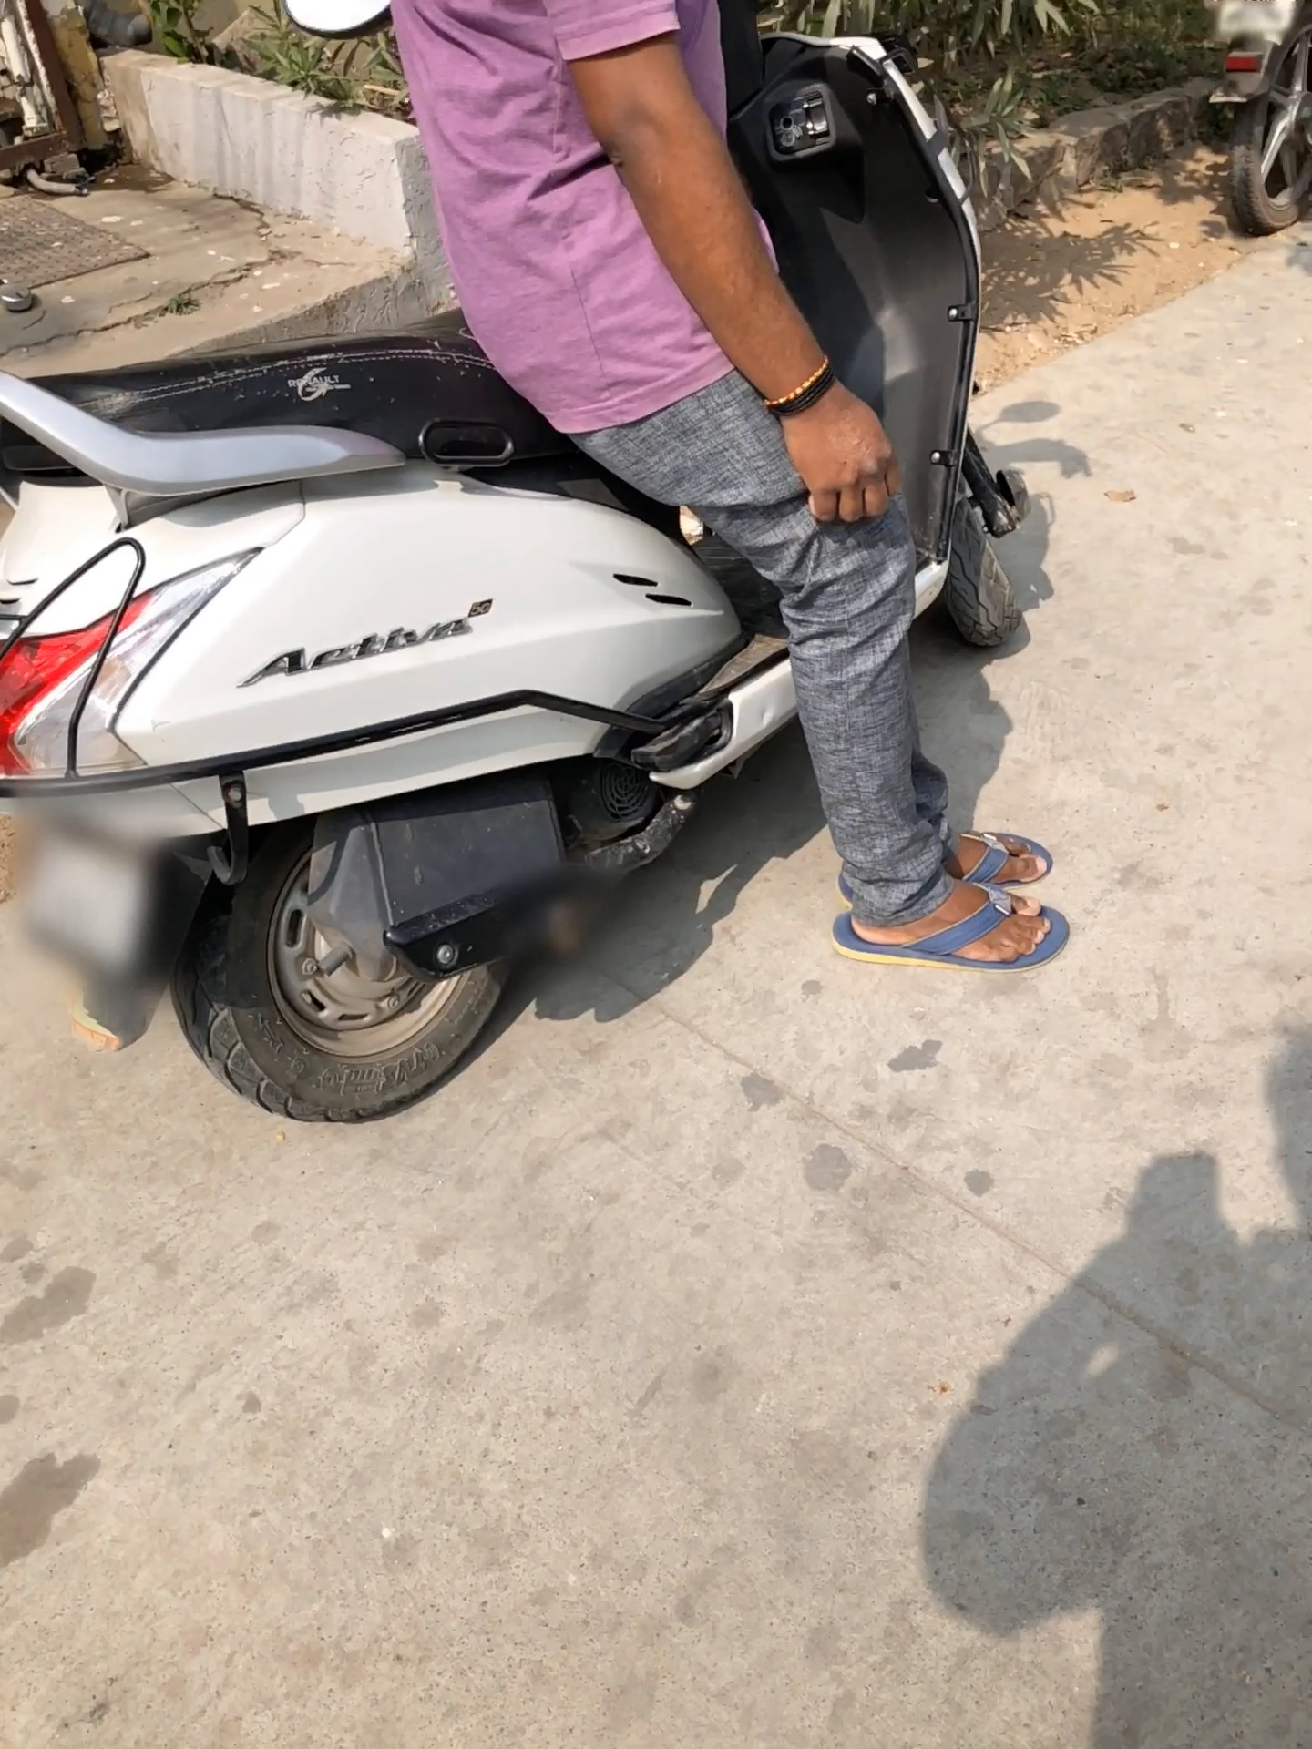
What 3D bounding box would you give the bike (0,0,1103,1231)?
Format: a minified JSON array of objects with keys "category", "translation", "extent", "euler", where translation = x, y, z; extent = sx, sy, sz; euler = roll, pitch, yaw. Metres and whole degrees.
[{"category":"bike","translation":[-0.119,-0.567,1.724],"extent":[0.647,1.008,1.529],"euler":[22,47,28]}]
